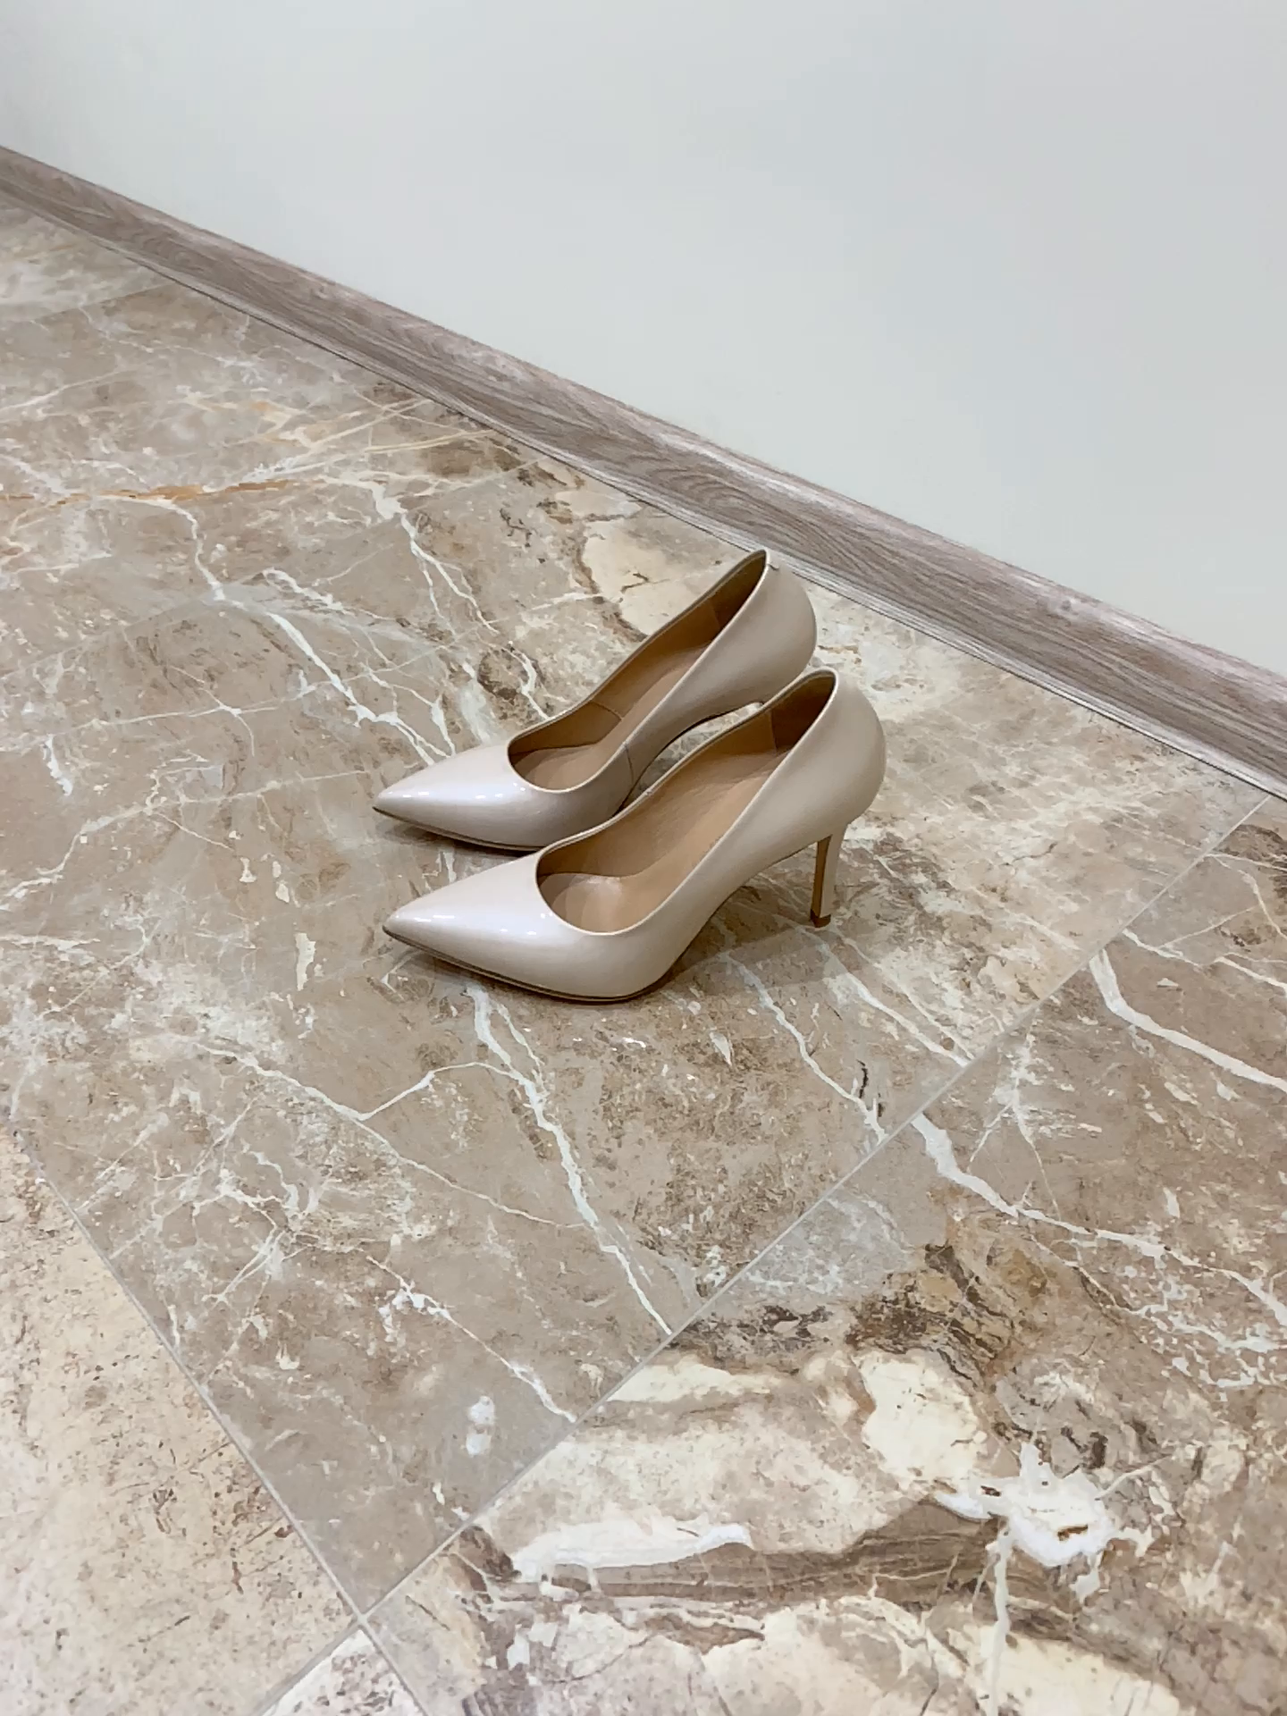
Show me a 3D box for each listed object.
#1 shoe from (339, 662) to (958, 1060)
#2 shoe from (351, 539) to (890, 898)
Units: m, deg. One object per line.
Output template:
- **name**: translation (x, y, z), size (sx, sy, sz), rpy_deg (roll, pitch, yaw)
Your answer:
- **shoe**: translation (-0.001, 0.000, 0.575), size (0.240, 0.109, 0.091), rpy_deg (-8, 42, -7)
- **shoe**: translation (-0.013, -0.070, 0.656), size (0.240, 0.119, 0.091), rpy_deg (-8, 42, -7)
